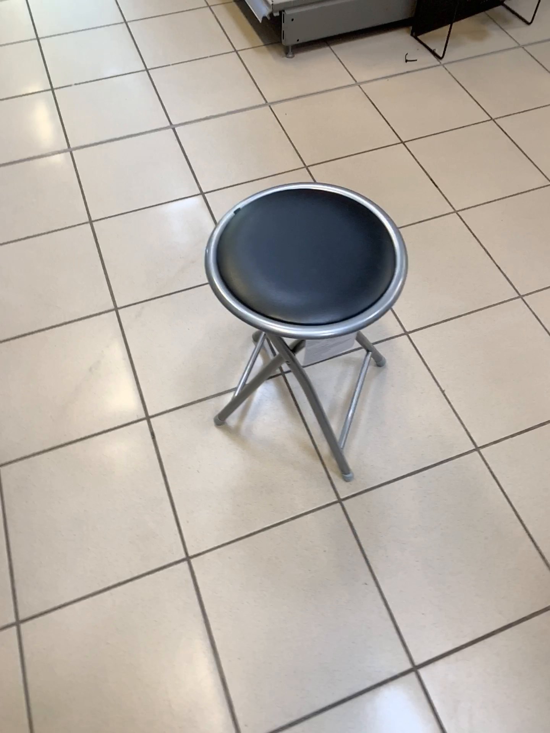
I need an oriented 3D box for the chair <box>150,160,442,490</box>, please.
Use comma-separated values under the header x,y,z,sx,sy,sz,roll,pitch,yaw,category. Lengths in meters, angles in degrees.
x,y,z,sx,sy,sz,roll,pitch,yaw,category
0.043,-0.055,0.985,0.335,0.402,0.329,18,60,11,chair
